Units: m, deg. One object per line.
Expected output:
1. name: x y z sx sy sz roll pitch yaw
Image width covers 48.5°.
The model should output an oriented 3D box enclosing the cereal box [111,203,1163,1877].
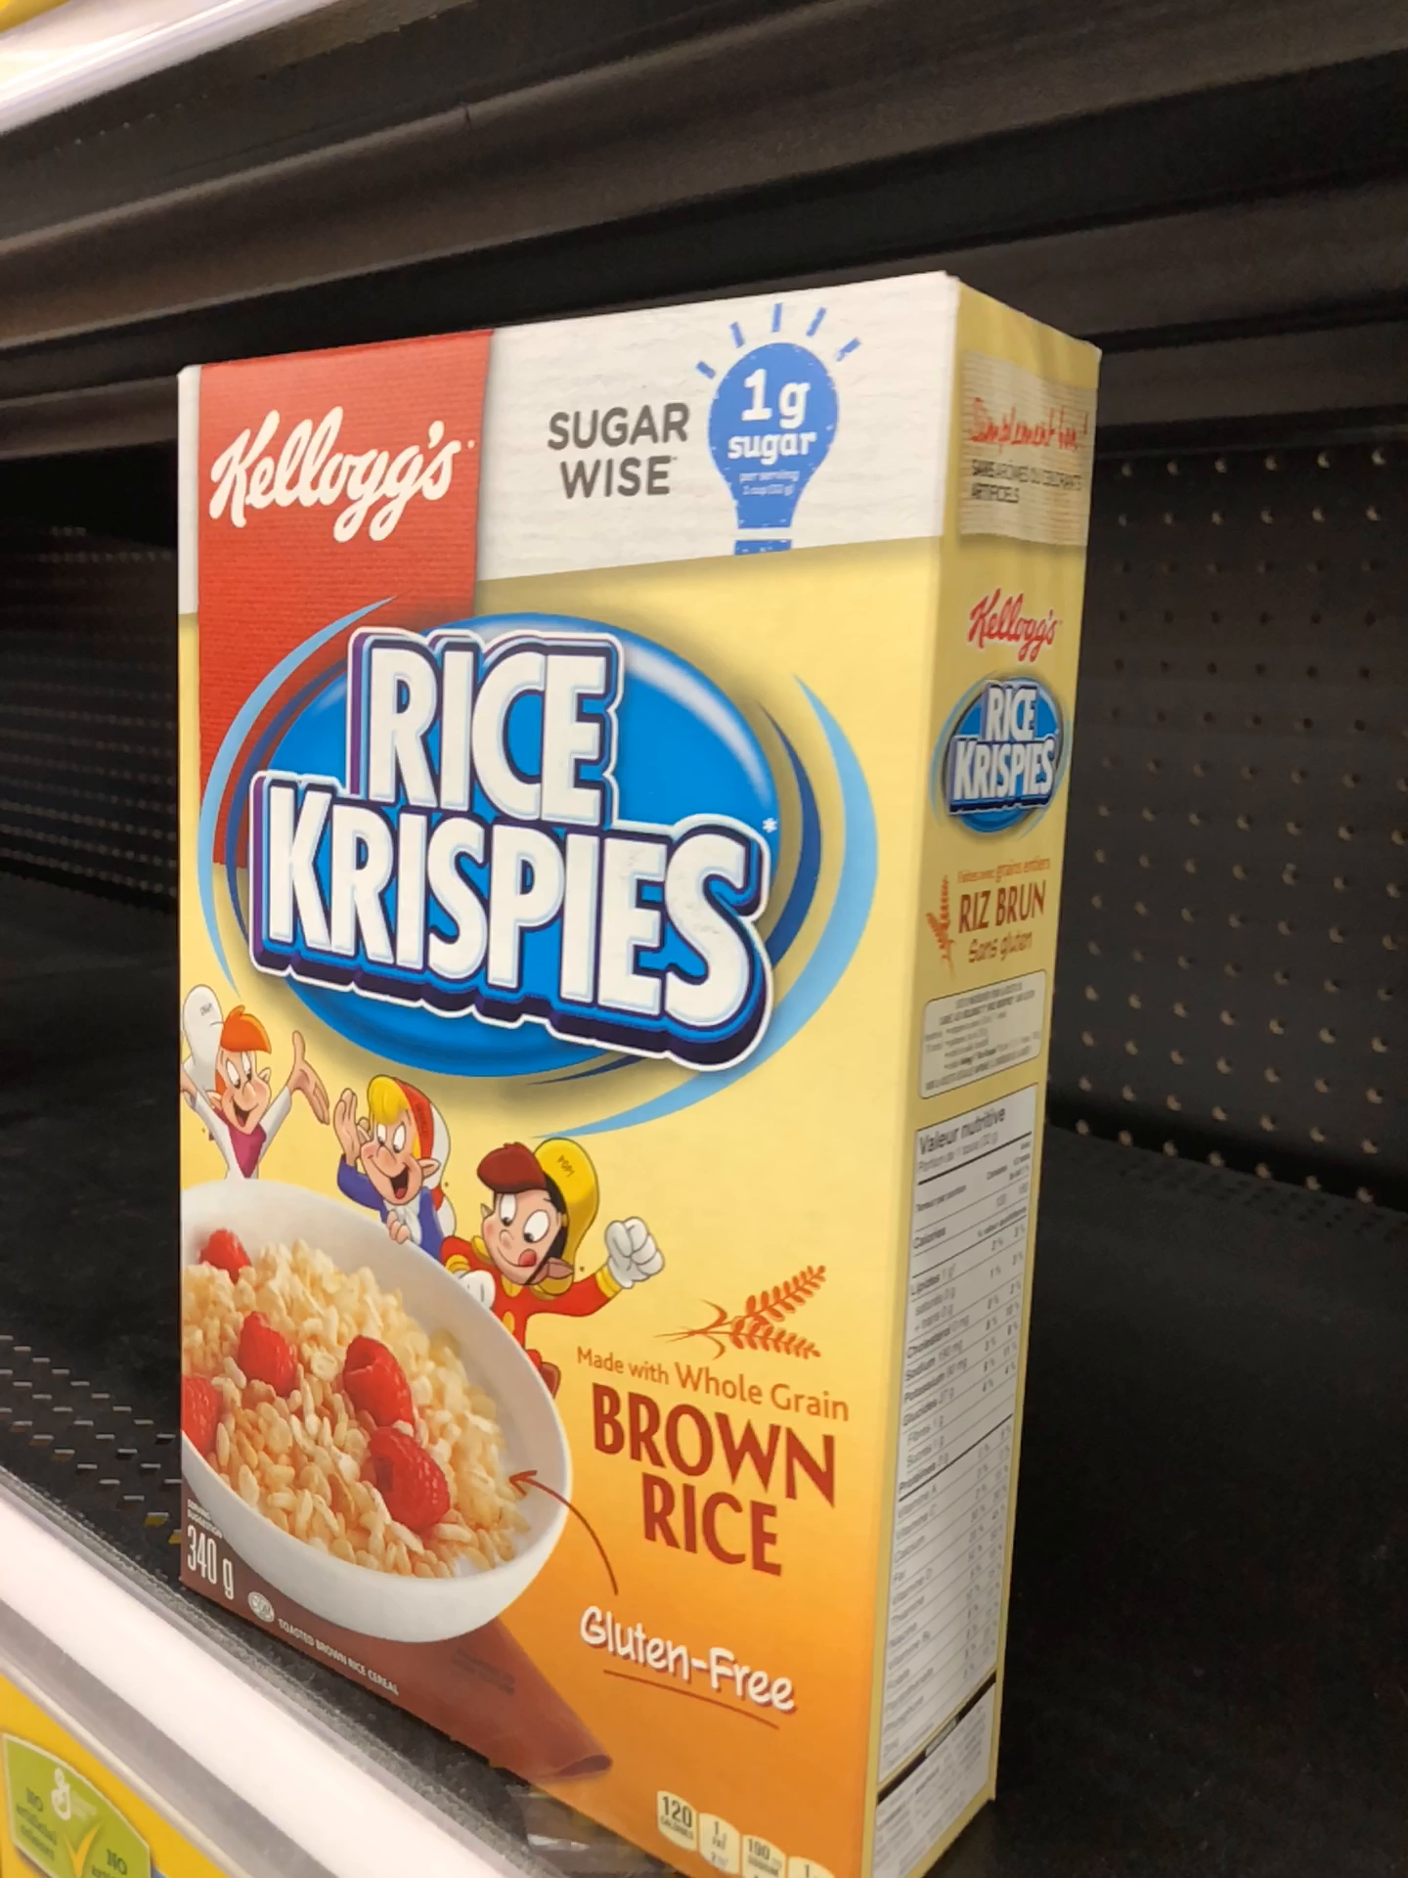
1. cereal box: -0.030 0.024 0.322 0.210 0.289 0.060 8 11 35
